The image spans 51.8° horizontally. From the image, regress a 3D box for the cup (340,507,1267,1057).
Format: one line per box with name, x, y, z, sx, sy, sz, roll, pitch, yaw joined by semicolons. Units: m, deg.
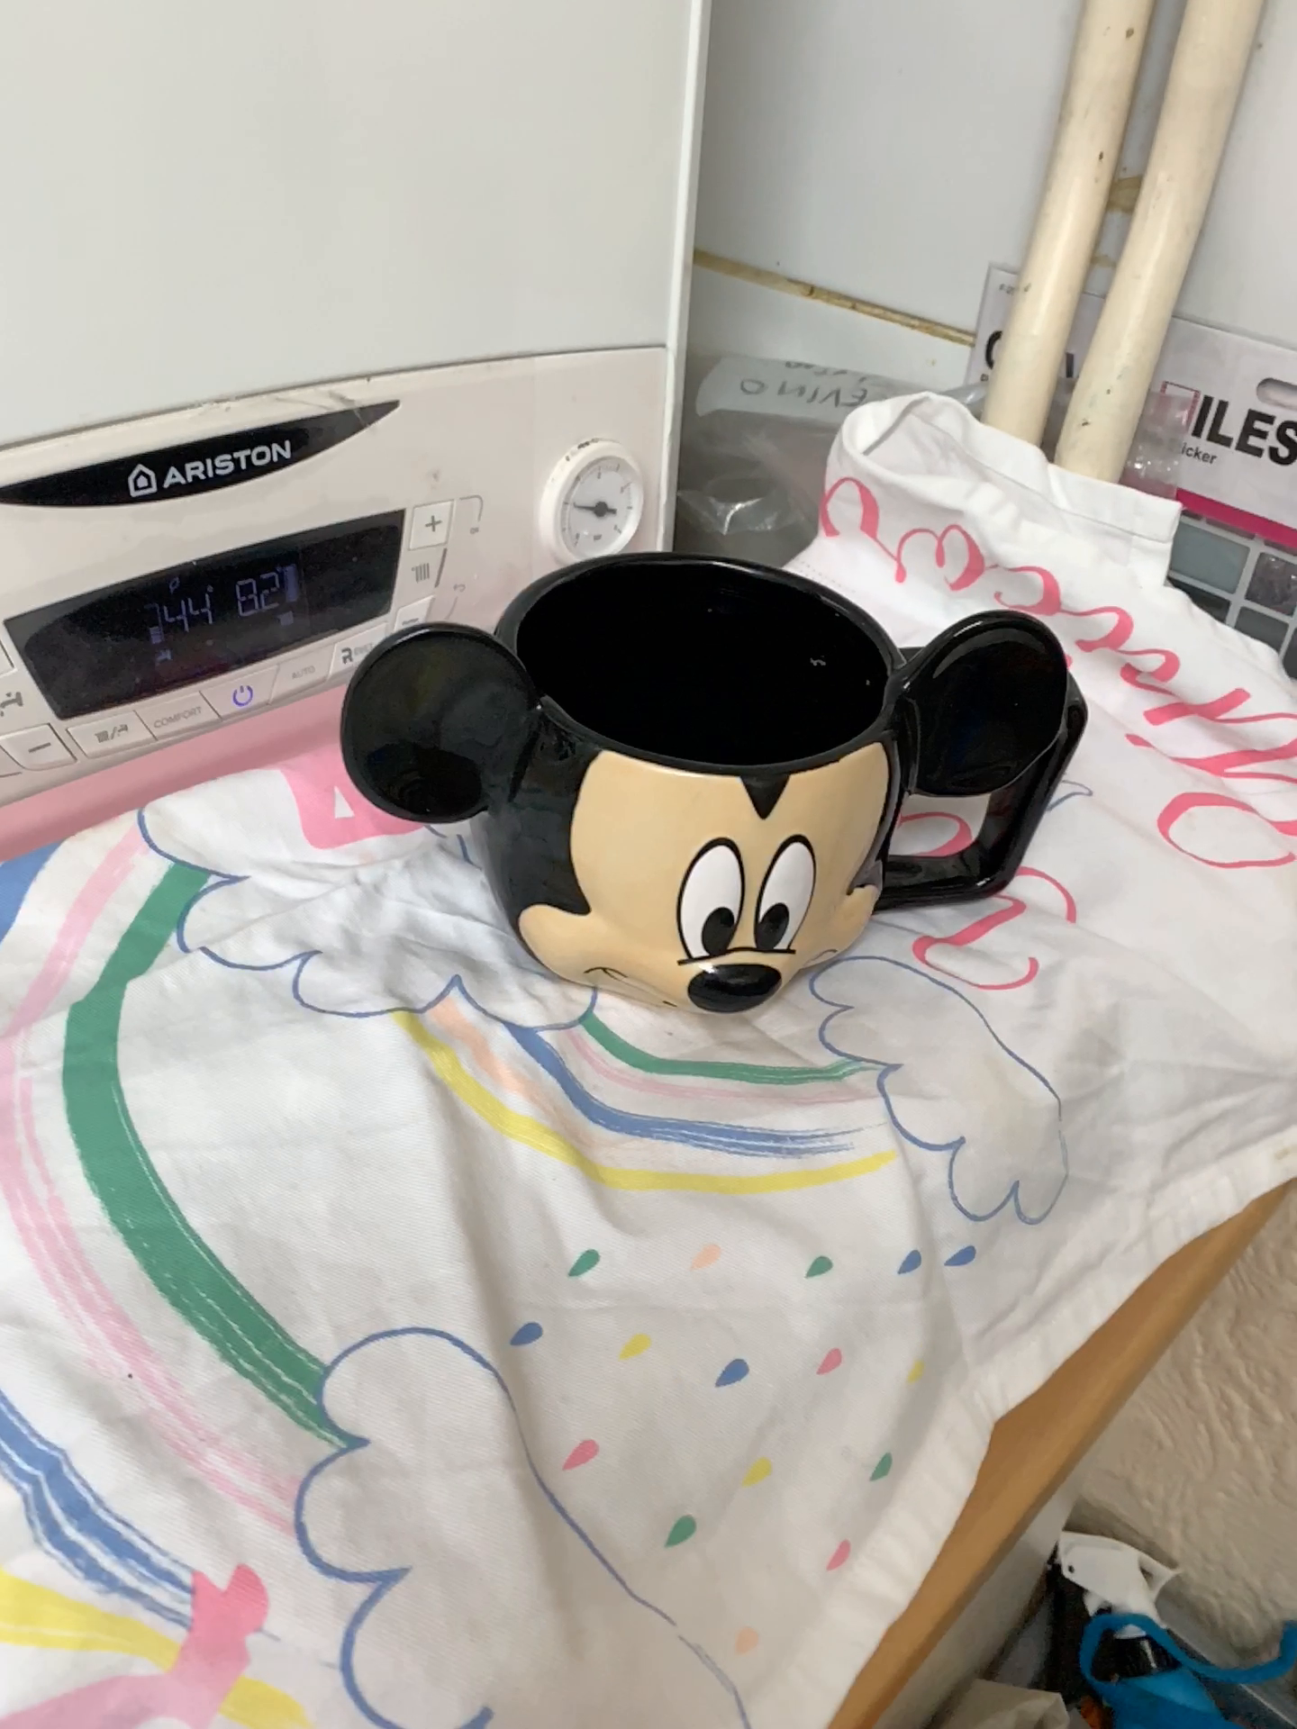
cup;0.027;-0.028;0.328;0.190;0.079;0.101;-5;38;-13
